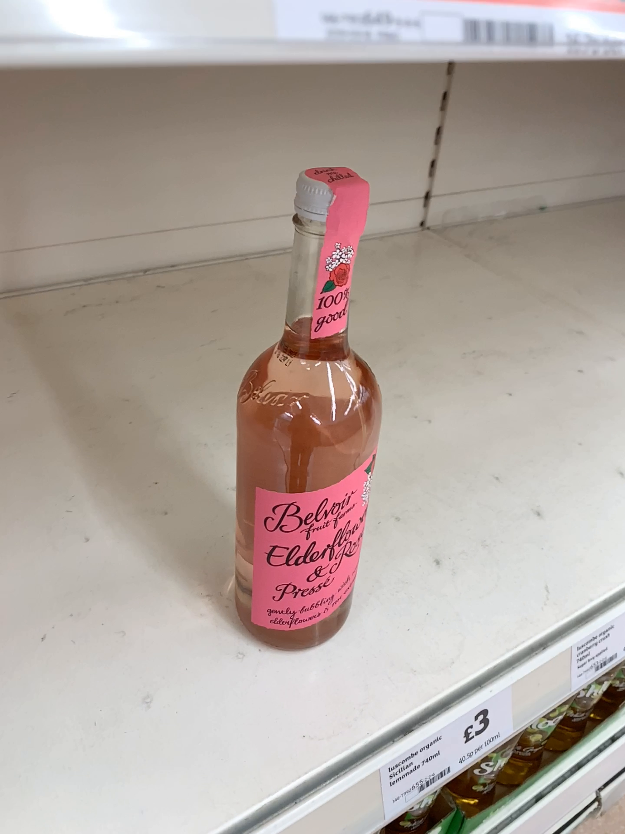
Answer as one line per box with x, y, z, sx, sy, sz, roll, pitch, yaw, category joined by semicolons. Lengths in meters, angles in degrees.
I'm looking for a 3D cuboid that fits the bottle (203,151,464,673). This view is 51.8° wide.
-0.005;0.011;0.350;0.087;0.274;0.087;3;36;-2;bottle
